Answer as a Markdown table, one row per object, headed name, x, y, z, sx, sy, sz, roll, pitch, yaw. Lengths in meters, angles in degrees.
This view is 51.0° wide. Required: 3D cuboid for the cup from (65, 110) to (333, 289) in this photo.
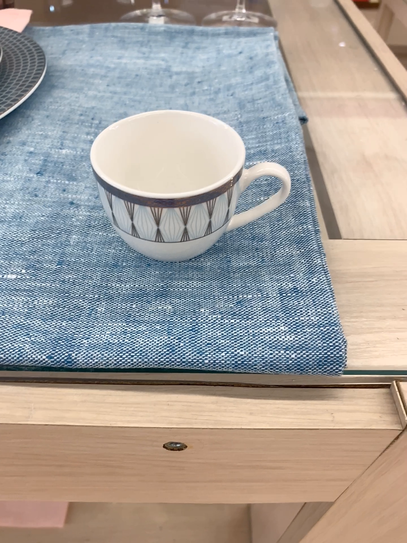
| name | x | y | z | sx | sy | sz | roll | pitch | yaw |
| --- | --- | --- | --- | --- | --- | --- | --- | --- | --- |
| cup | -0.002 | -0.032 | 0.182 | 0.090 | 0.040 | 0.070 | 1 | 46 | -2 |
